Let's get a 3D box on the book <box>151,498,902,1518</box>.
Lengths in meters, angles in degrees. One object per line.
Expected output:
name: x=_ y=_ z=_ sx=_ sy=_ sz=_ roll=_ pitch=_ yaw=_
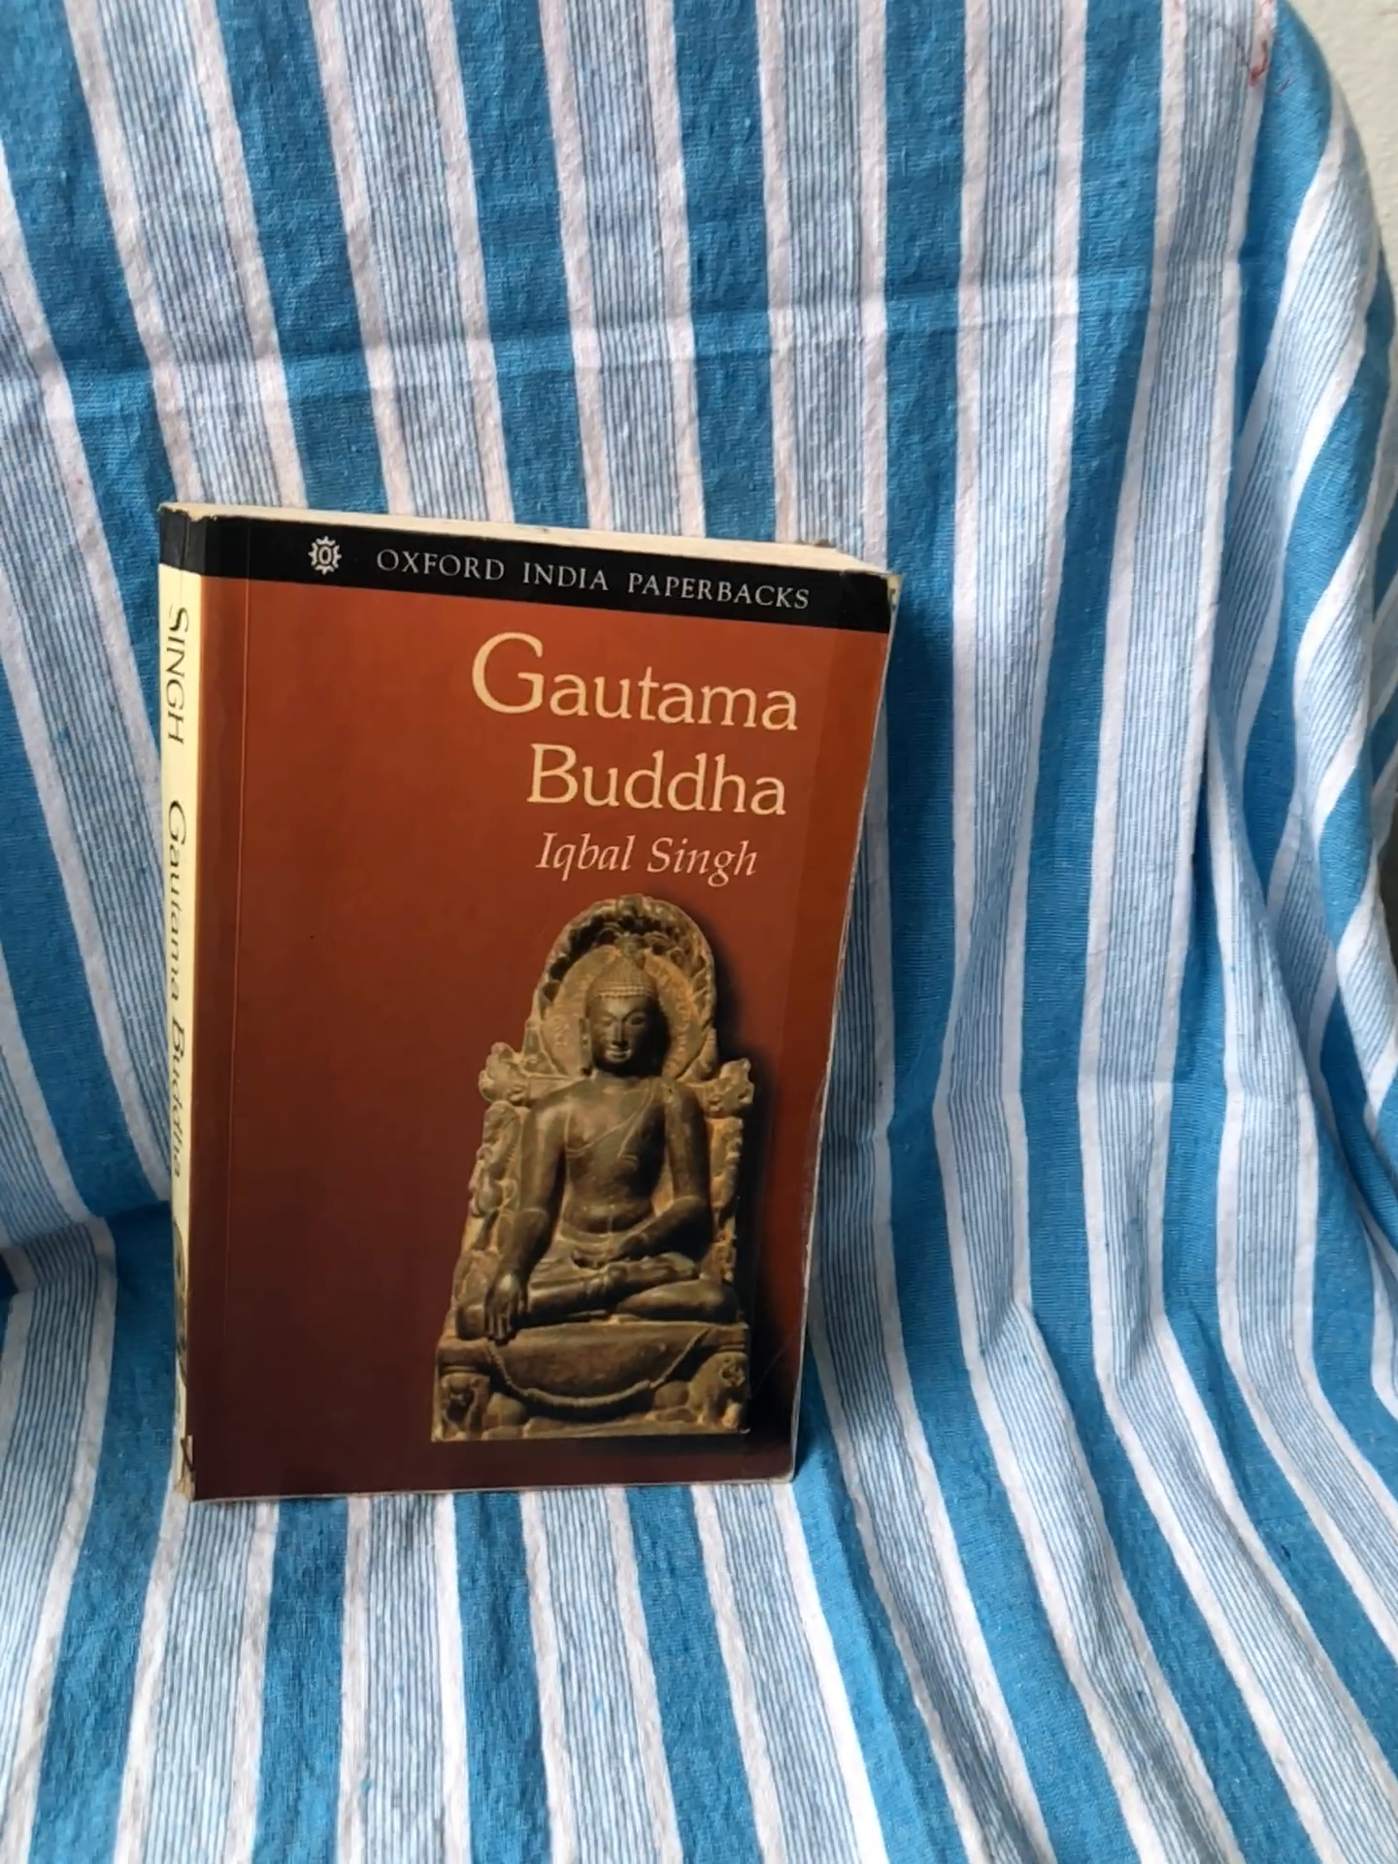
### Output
book: x=-0.039 y=0.019 z=0.335 sx=0.140 sy=0.209 sz=0.040 roll=1 pitch=15 yaw=-11
